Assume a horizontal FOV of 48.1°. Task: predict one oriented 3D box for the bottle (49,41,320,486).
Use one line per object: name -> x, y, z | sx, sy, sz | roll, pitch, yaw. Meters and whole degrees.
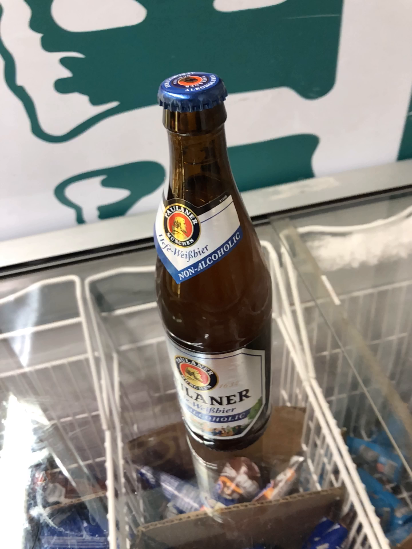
bottle -> 0.004, 0.015, 0.261 | 0.080, 0.248, 0.070 | 20, 48, 27
